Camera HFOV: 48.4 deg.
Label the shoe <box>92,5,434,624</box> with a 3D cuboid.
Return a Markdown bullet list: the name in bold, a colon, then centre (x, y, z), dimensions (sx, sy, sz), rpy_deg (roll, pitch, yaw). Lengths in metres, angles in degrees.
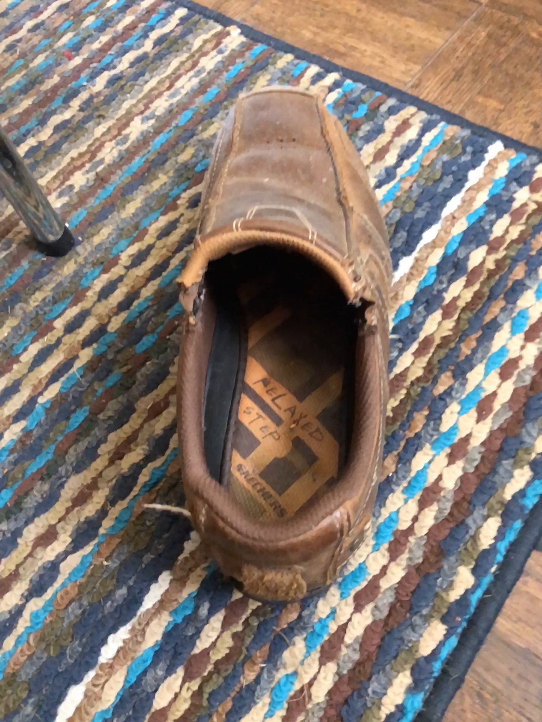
- **shoe**: centre (0.005, -0.034, 0.286), dimensions (0.100, 0.100, 0.280), rpy_deg (1, 62, 4)
